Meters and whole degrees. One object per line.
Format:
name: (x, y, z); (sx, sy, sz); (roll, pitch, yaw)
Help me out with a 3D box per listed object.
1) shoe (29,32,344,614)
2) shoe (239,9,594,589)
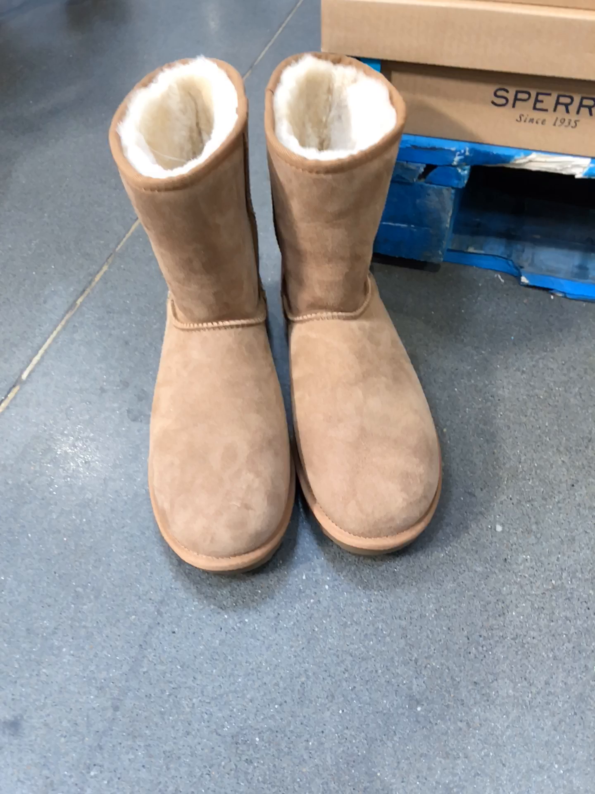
shoe: (-0.049, -0.051, 0.470); (0.130, 0.259, 0.311); (-5, 51, 0)
shoe: (0.049, -0.070, 0.476); (0.130, 0.259, 0.311); (-8, 51, -2)
